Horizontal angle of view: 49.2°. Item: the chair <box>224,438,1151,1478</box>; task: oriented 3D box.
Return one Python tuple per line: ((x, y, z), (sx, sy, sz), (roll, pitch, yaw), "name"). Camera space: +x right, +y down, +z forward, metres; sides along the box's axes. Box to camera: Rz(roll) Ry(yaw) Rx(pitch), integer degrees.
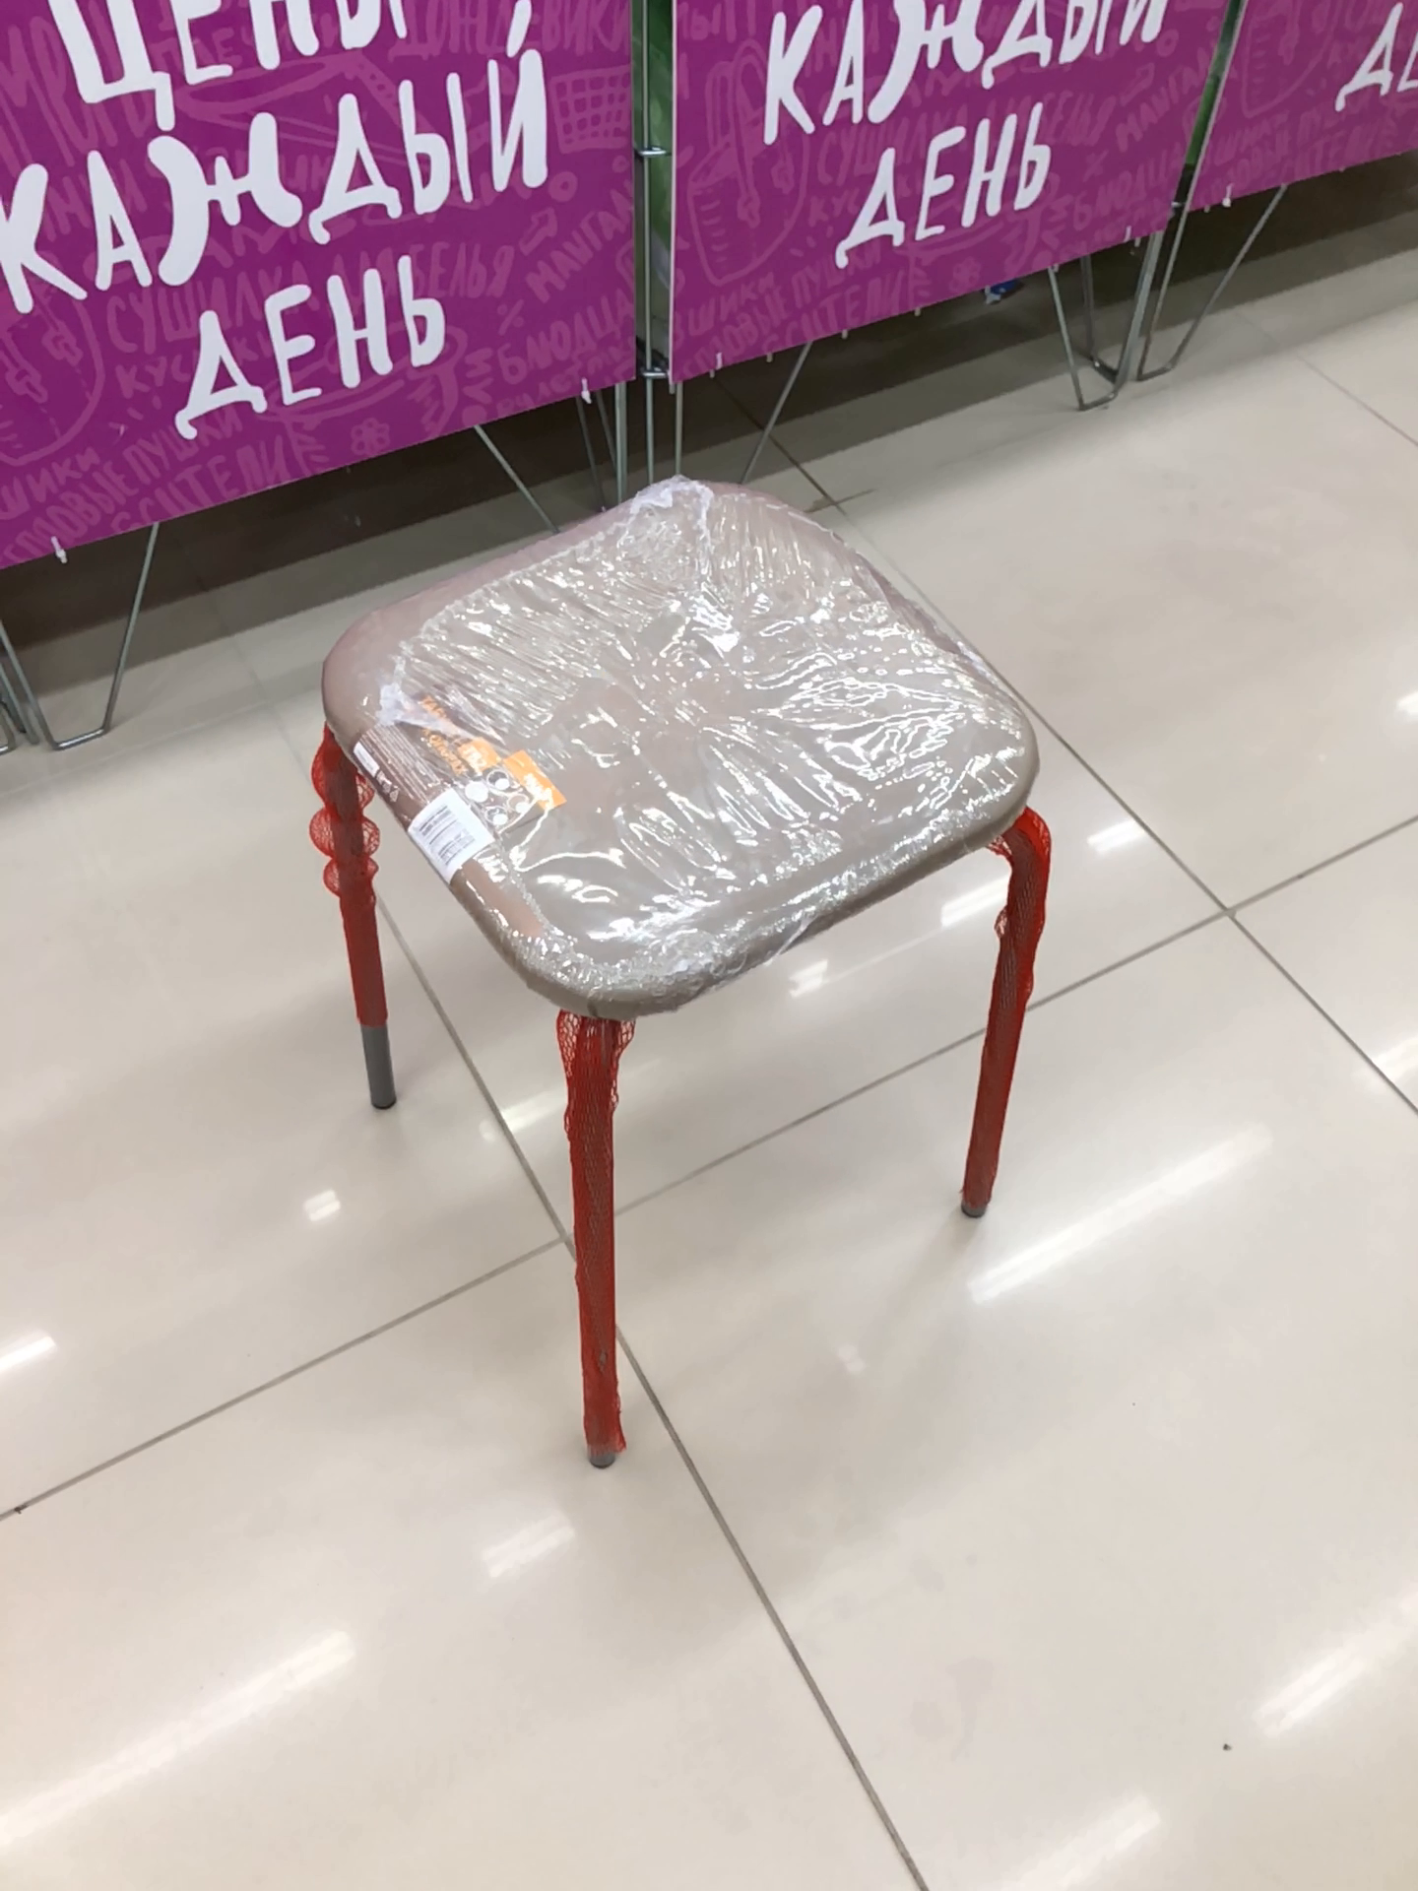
((-0.021, 0.019, 0.938), (0.331, 0.437, 0.331), (-28, 58, -21), "chair")
